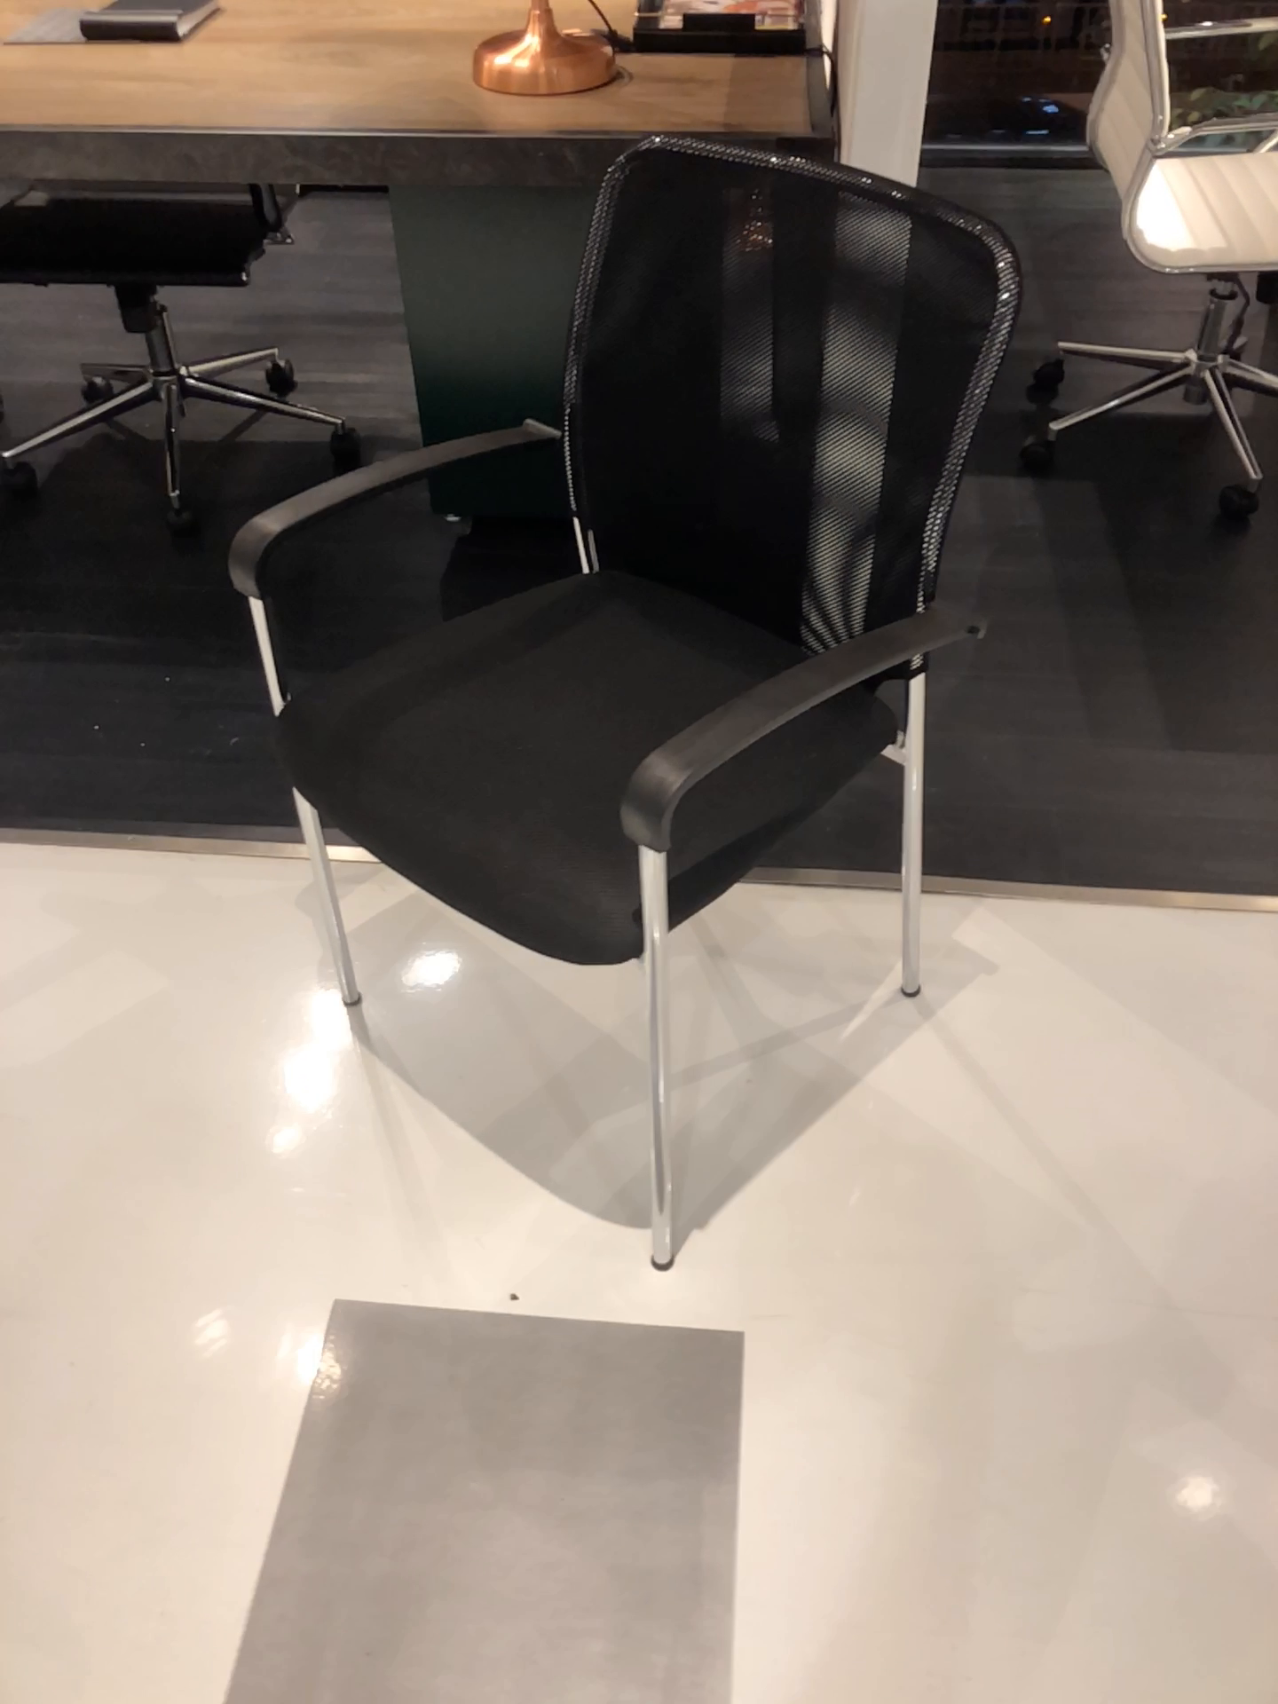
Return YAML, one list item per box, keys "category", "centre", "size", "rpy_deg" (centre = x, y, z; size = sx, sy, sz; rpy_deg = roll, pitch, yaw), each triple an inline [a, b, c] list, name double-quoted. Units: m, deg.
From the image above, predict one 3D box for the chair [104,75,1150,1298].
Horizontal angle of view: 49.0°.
- category: "chair"
  centre: [-0.008, -0.156, 1.335]
  size: [0.592, 0.863, 0.512]
  rpy_deg: [32, 52, 31]
